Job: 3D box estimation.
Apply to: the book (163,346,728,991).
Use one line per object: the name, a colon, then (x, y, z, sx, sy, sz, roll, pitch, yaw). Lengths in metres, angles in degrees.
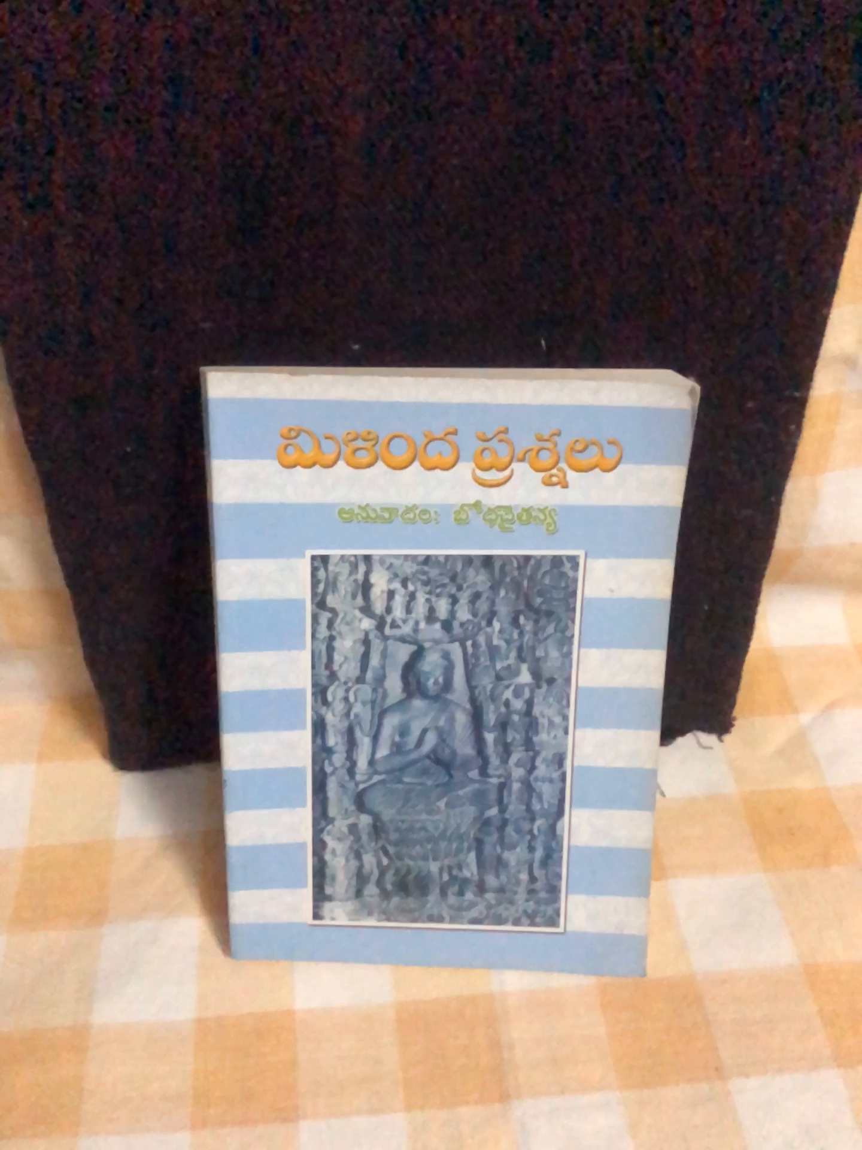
book: (0.001, 0.036, 0.314, 0.160, 0.210, 0.030, 2, 16, 1)
